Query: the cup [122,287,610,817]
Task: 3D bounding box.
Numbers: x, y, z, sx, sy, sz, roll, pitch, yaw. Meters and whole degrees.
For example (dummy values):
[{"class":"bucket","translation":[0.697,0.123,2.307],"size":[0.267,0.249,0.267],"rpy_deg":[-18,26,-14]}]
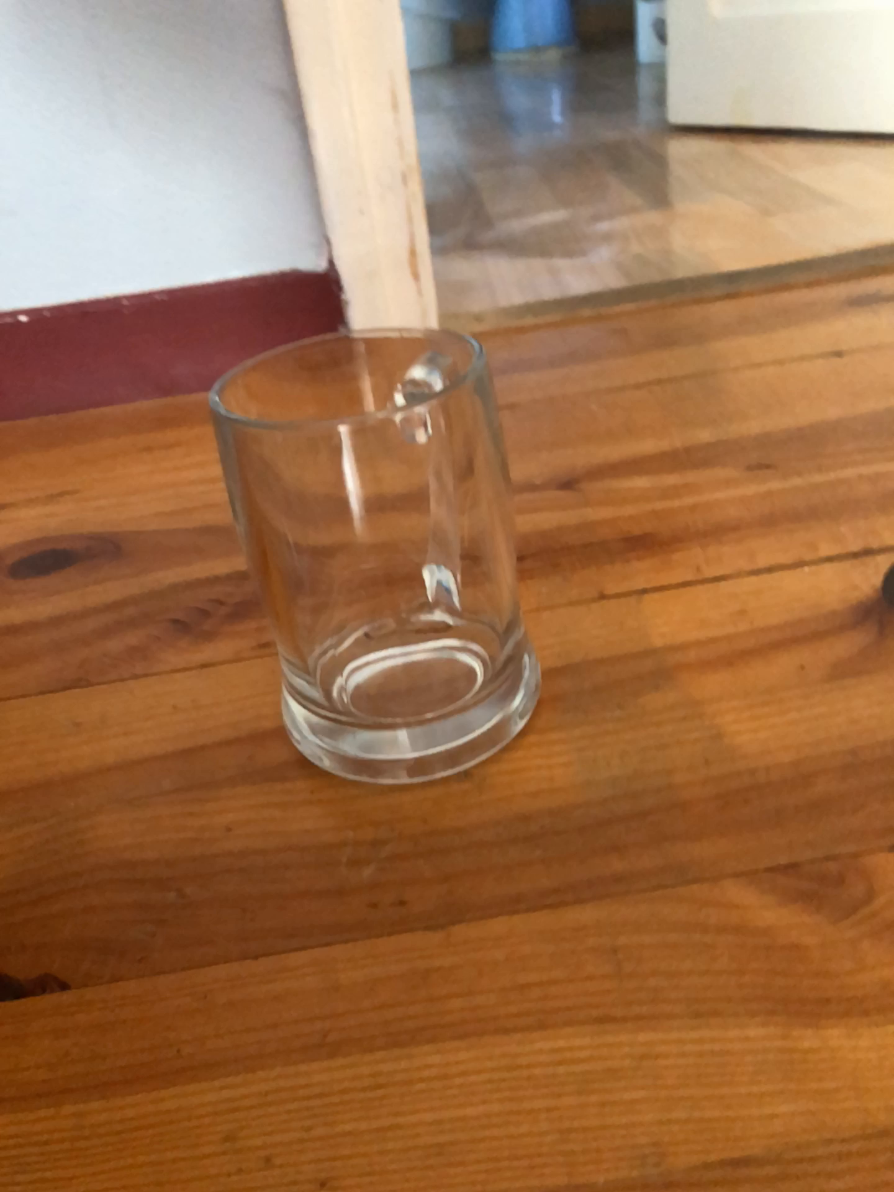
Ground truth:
[{"class":"cup","translation":[-0.011,-0.024,0.313],"size":[0.091,0.110,0.129],"rpy_deg":[7,34,22]}]
